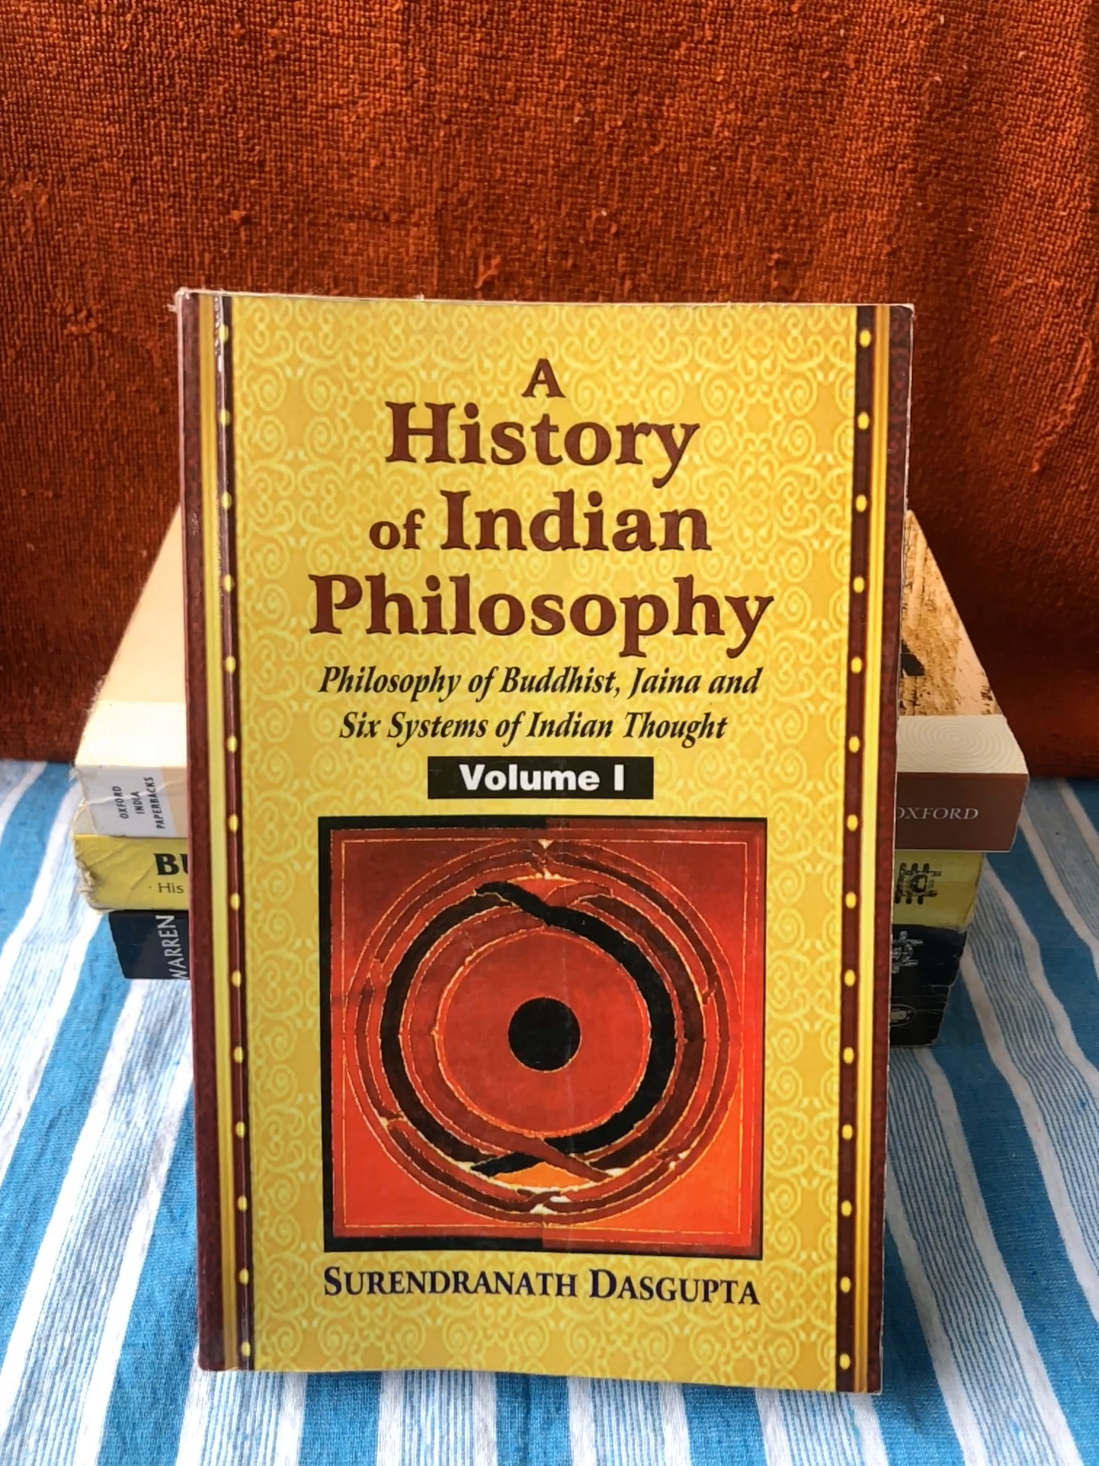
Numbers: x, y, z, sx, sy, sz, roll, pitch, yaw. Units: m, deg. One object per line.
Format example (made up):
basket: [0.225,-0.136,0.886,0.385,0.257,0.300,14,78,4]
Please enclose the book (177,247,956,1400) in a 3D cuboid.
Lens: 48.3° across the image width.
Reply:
book: [0.003,0.018,0.255,0.141,0.216,0.048,0,5,3]
